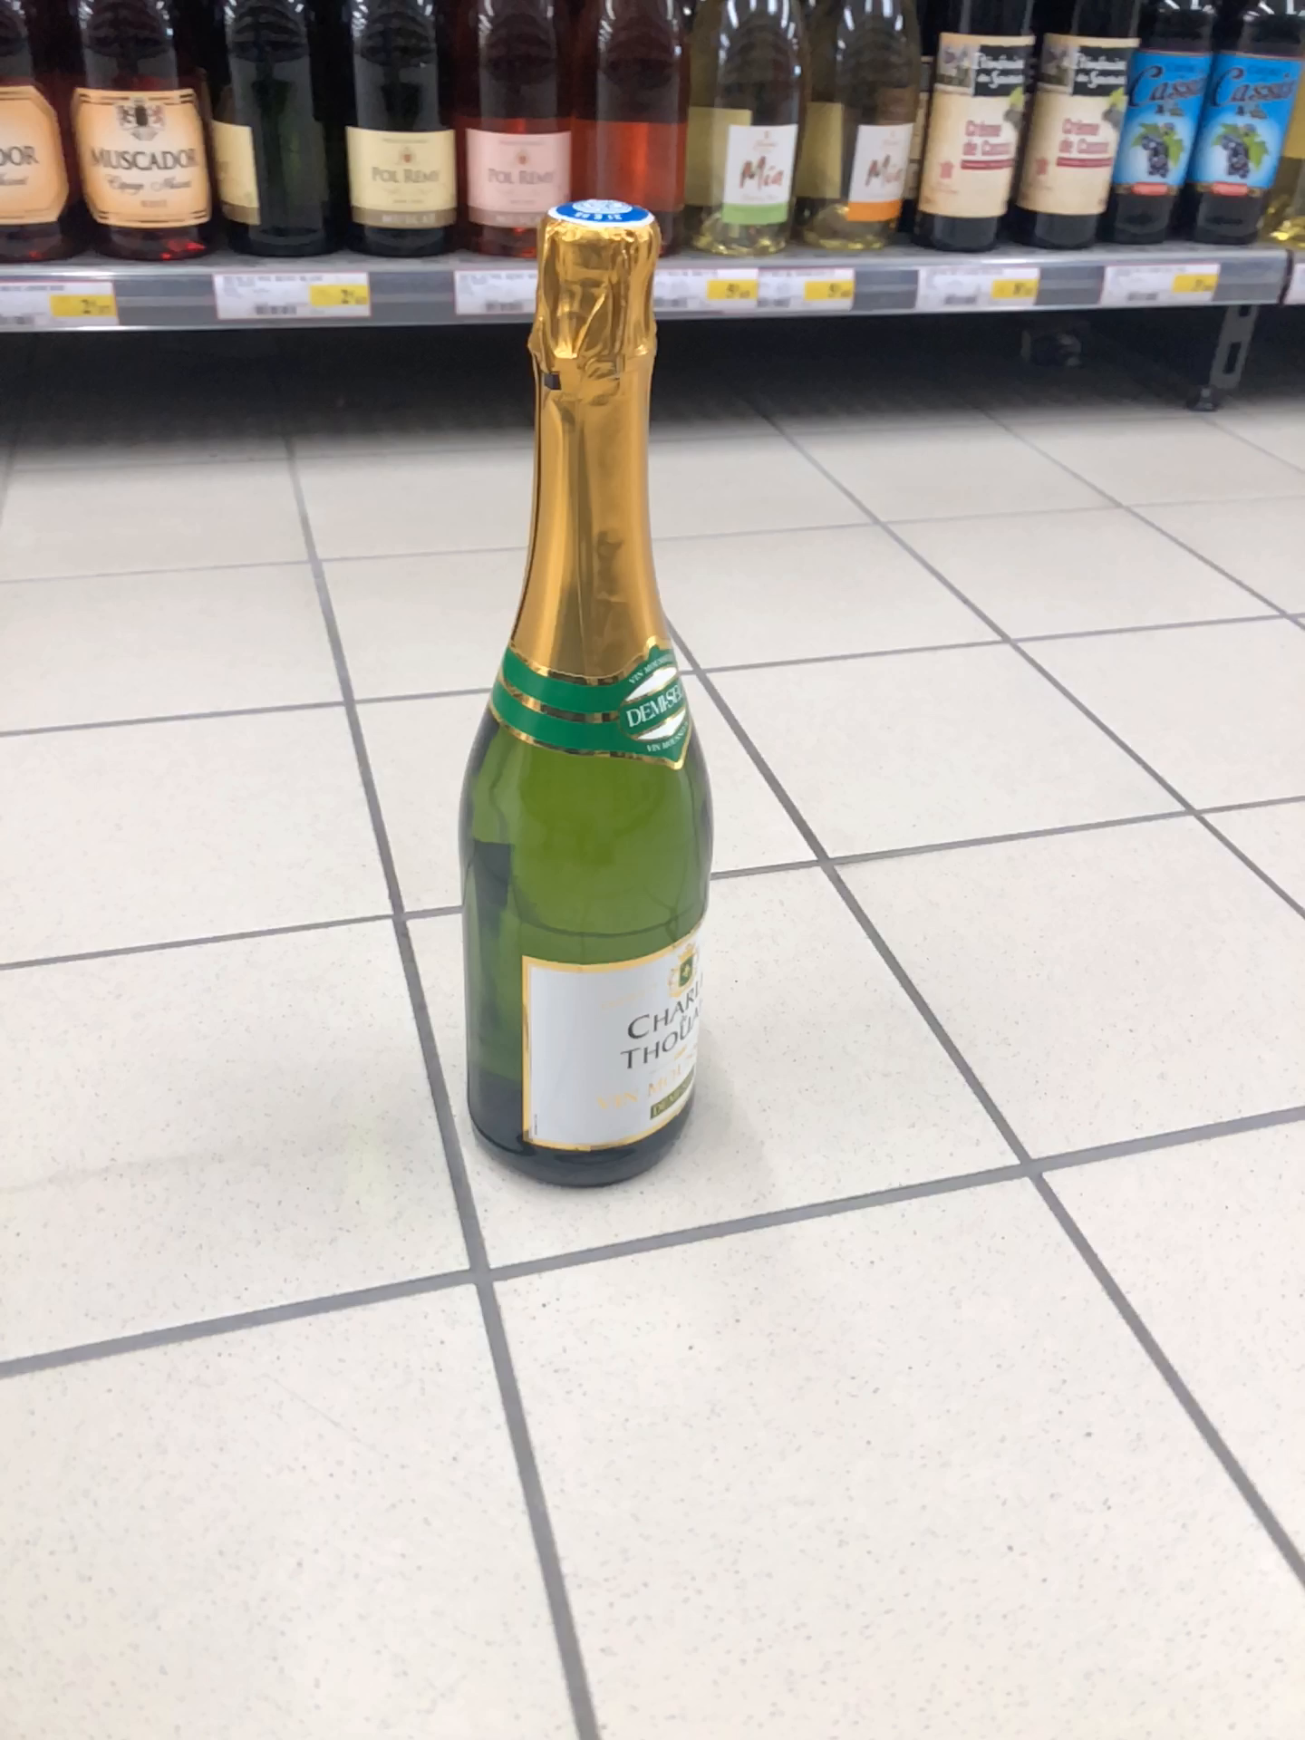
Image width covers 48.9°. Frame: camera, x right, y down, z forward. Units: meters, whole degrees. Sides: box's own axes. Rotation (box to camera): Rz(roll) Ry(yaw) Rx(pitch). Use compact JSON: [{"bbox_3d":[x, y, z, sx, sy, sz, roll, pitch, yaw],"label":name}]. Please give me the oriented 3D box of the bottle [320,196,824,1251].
[{"bbox_3d":[-0.026,-0.035,0.443,0.090,0.298,0.091,2,33,-1],"label":"bottle"}]
